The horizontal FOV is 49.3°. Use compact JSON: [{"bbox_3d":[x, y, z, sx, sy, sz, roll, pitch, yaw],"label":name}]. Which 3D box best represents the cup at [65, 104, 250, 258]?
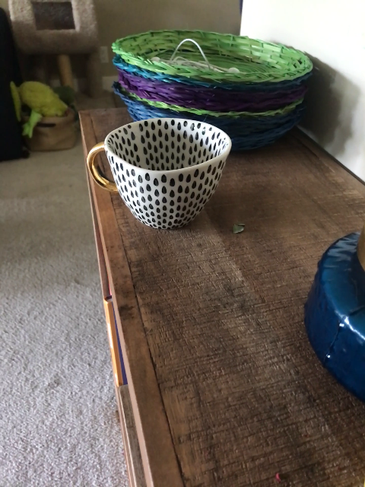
[{"bbox_3d":[-0.017,-0.063,0.367,0.130,0.079,0.101,14,40,15],"label":"cup"}]
